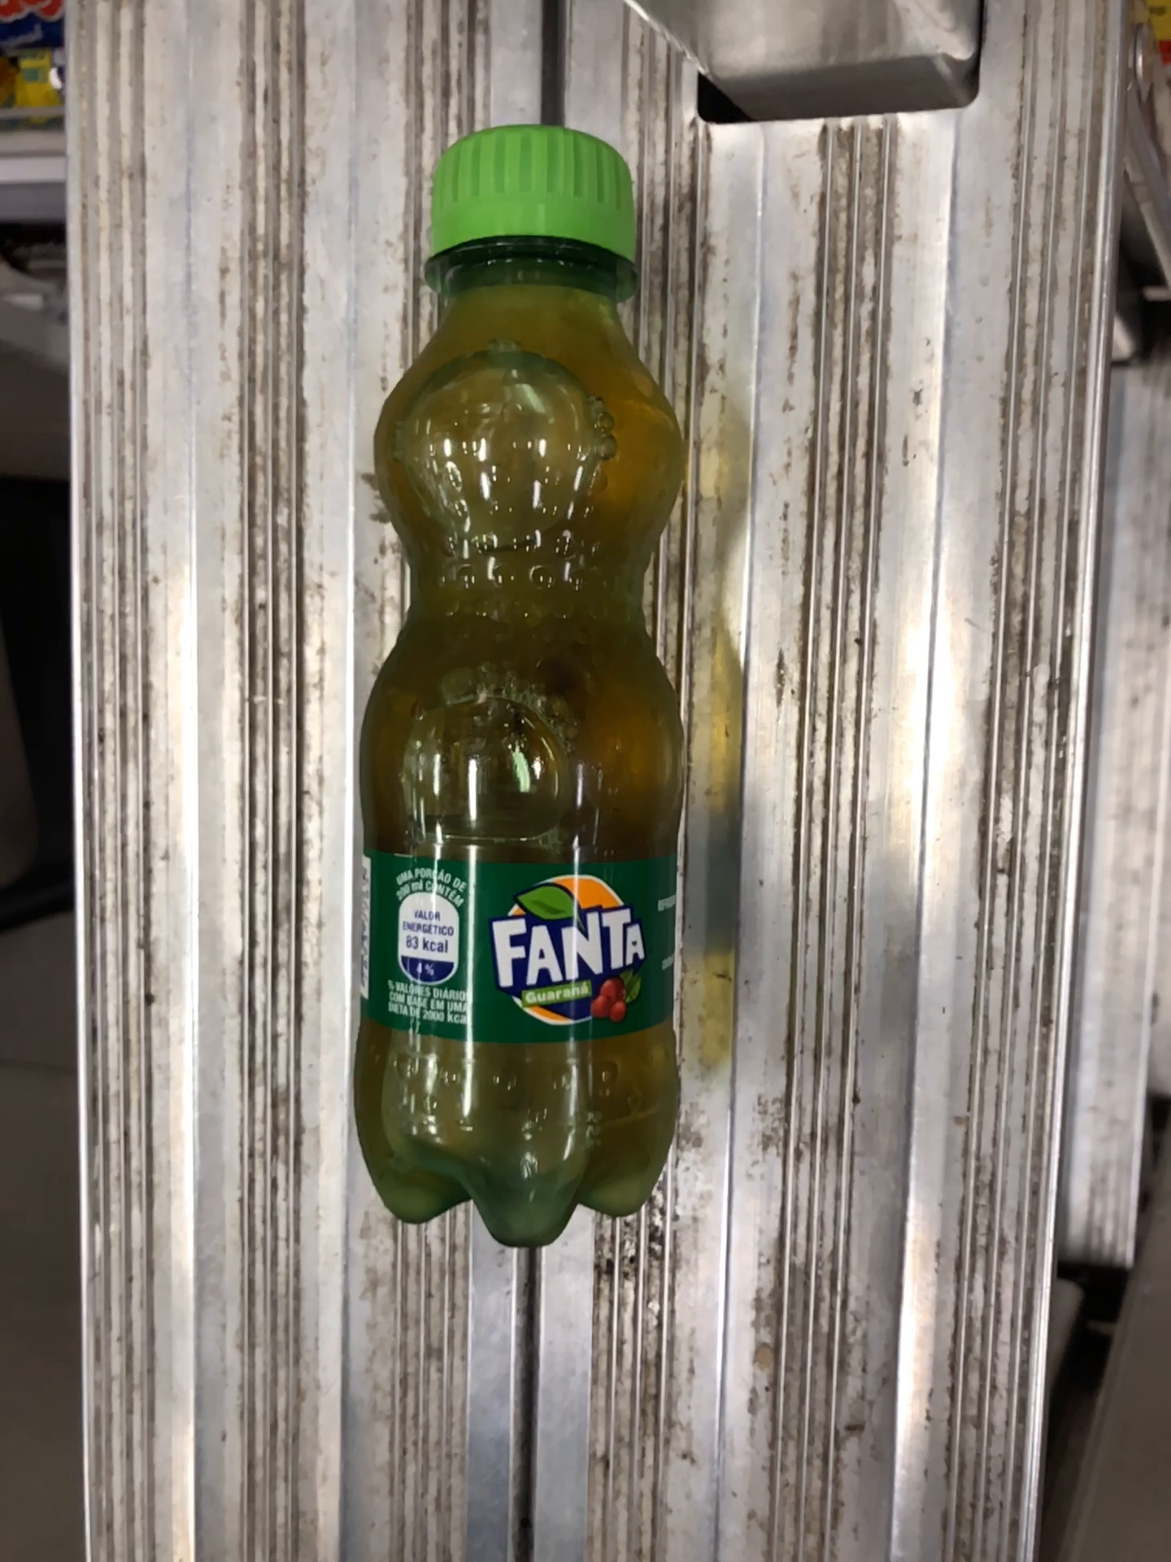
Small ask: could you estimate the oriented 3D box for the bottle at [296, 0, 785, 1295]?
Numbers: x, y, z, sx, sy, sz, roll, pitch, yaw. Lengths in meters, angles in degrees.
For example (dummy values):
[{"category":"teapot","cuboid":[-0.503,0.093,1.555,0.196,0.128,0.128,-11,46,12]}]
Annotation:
[{"category":"bottle","cuboid":[-0.009,-0.022,0.195,0.050,0.050,0.170,6,95,56]}]
